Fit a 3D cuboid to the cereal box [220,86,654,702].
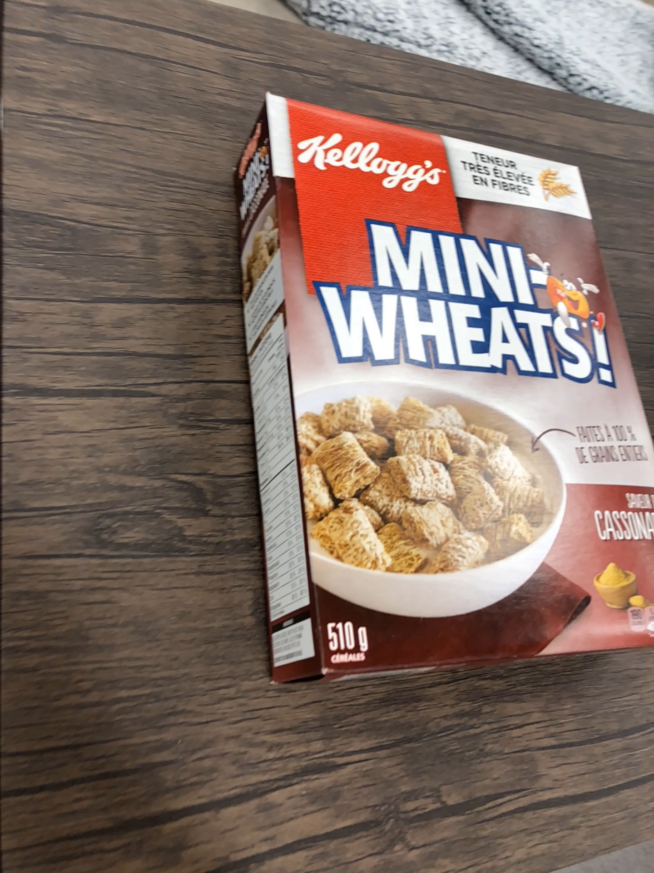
[{"bbox_3d":[0.065,-0.021,0.351,0.210,0.060,0.260,3,68,-24],"label":"cereal box"}]
